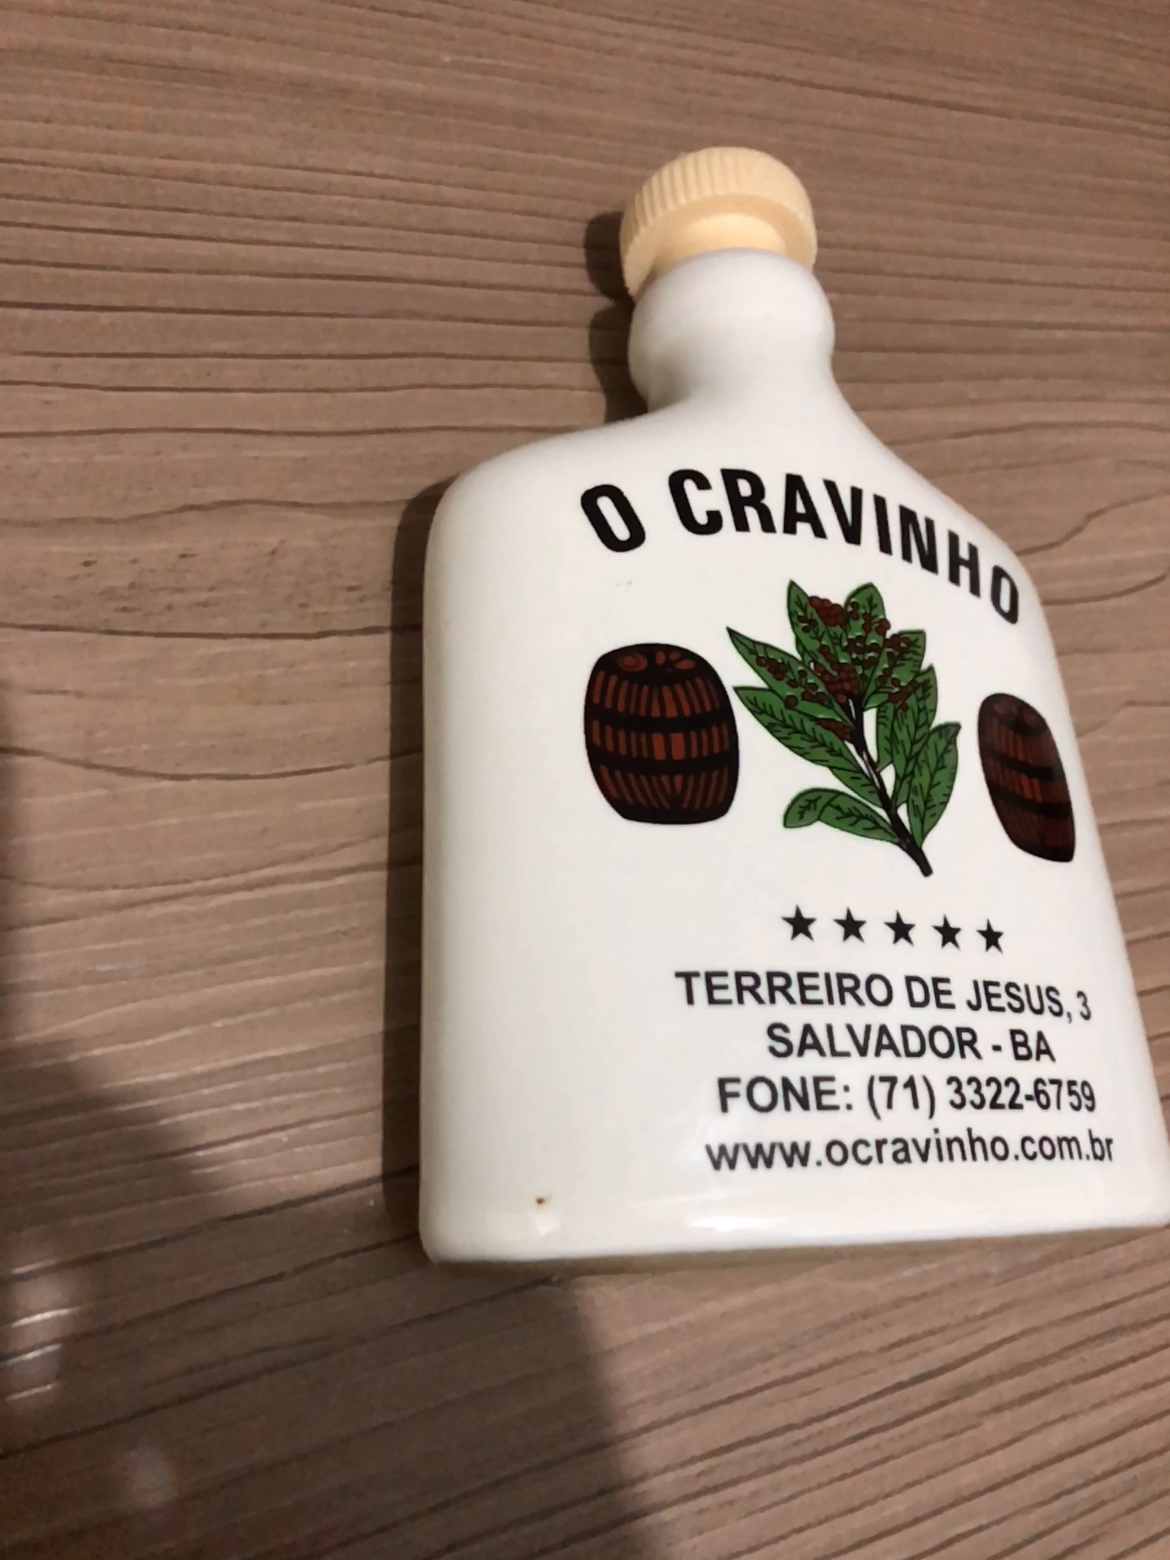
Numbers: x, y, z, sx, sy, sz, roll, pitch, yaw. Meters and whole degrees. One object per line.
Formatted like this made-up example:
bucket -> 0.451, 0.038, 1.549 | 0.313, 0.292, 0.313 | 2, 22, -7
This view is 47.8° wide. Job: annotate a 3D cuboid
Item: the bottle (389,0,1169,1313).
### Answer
bottle -> 0.028, -0.020, 0.175 | 0.100, 0.040, 0.160 | 5, 69, -22
